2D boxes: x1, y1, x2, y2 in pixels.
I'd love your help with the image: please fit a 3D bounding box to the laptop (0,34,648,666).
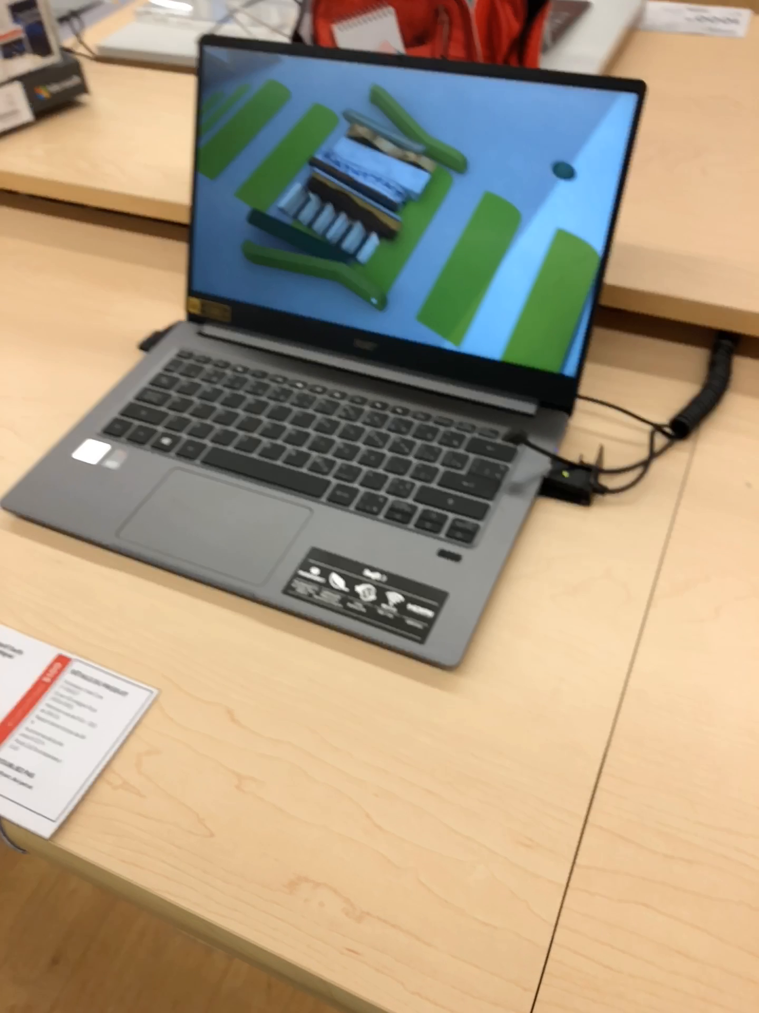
[{"bbox_3d":[-0.043,-0.126,0.524,0.315,0.177,0.312,17,51,18],"label":"laptop"}]
